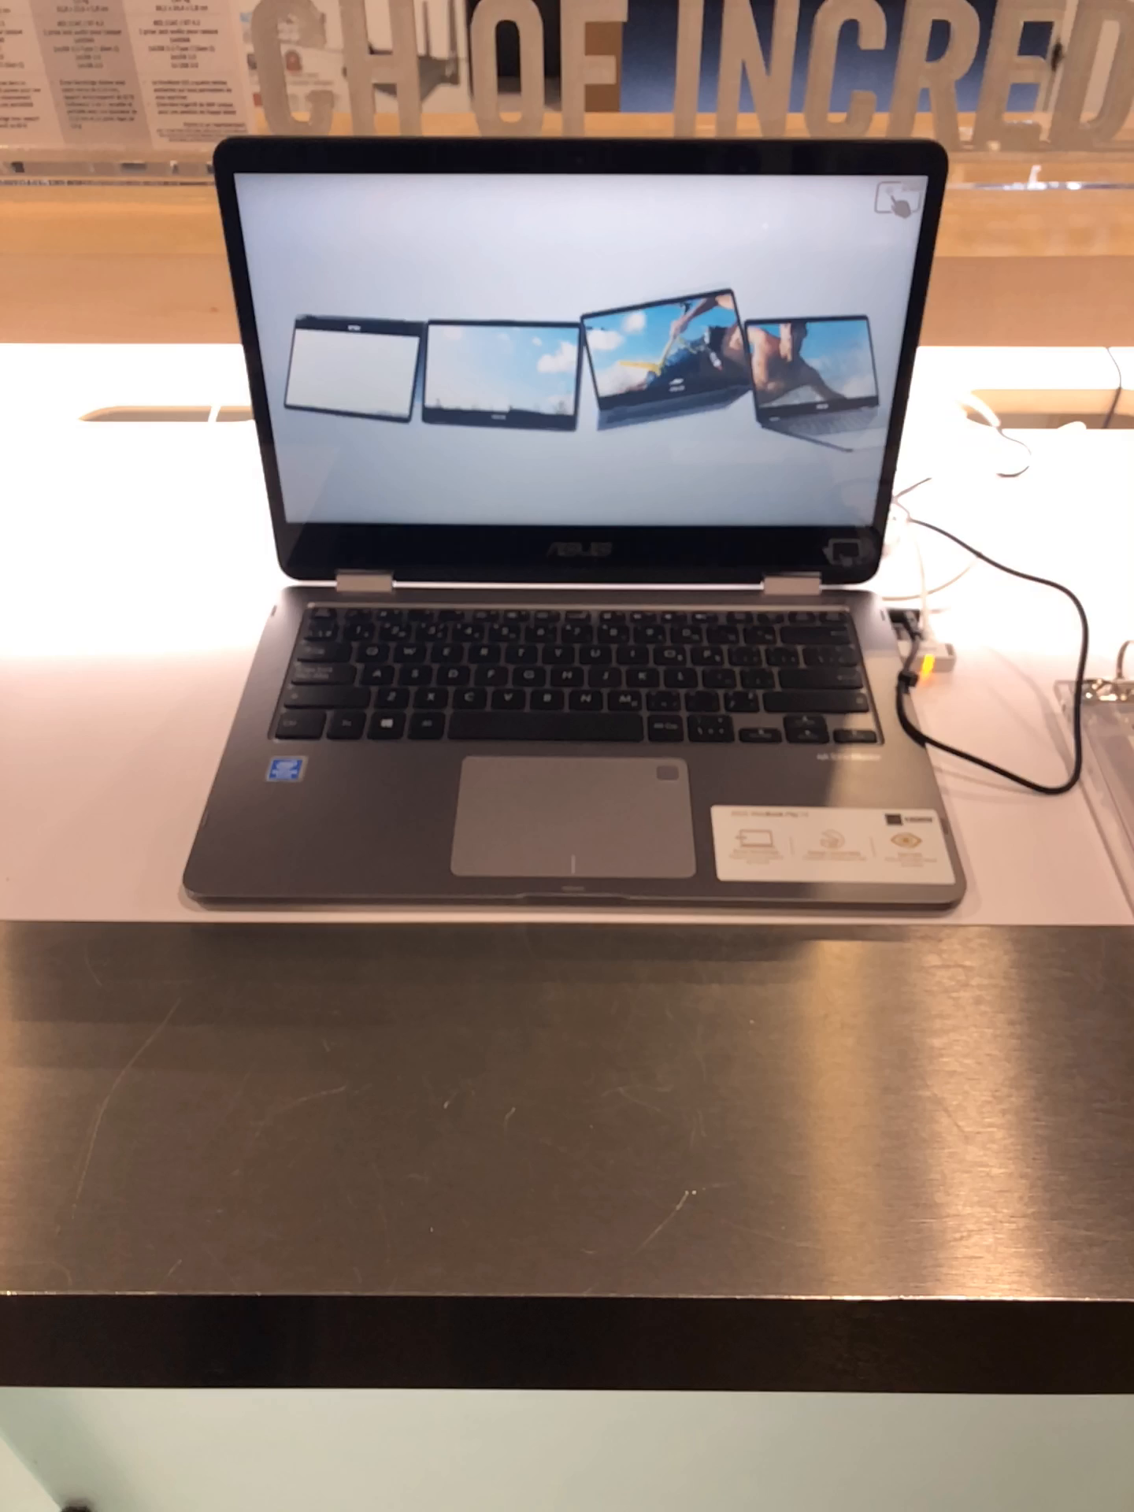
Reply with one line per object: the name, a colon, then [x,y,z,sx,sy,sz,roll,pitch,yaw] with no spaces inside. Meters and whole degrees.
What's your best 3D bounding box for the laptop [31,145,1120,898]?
laptop: [0.004,-0.096,0.498,0.303,0.210,0.211,1,43,1]
